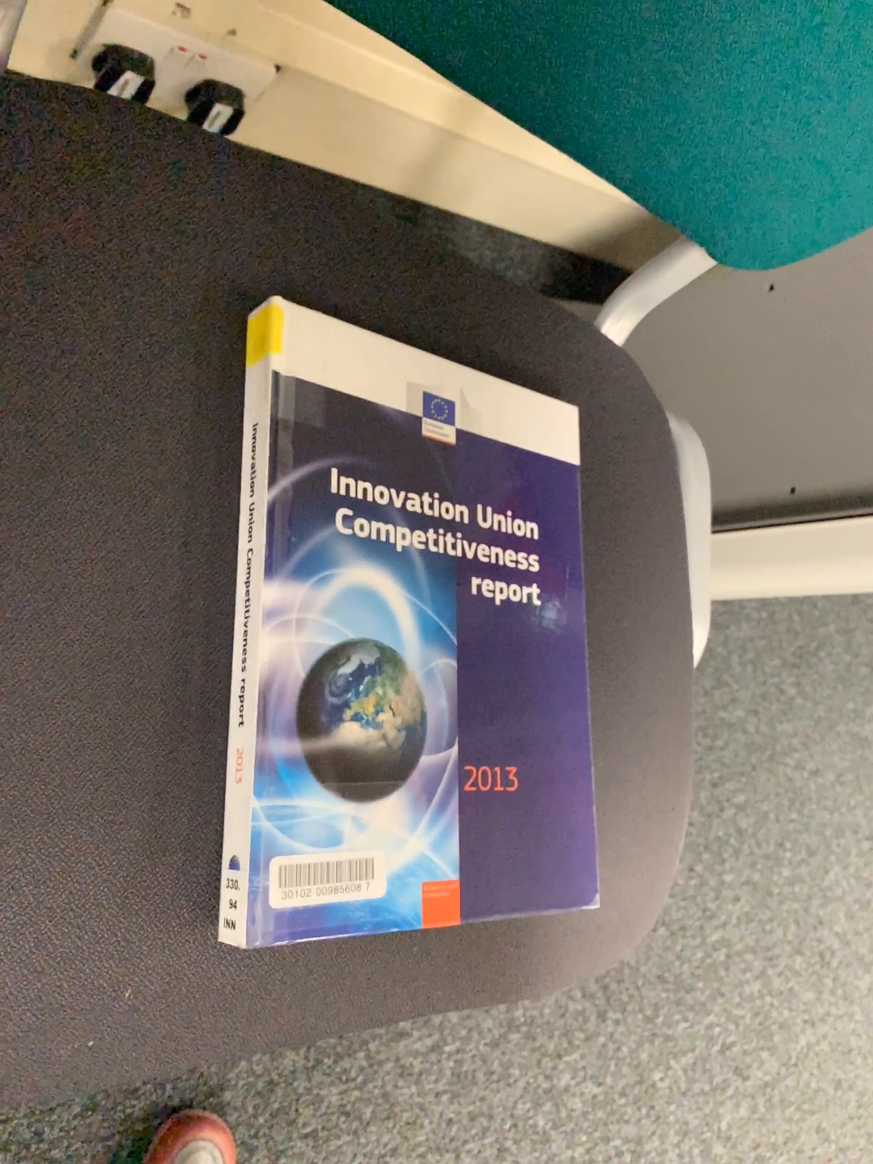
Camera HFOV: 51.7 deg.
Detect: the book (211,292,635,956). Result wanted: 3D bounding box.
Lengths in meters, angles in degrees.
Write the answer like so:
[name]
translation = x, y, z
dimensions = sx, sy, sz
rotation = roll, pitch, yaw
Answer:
[book]
translation = 0.005, 0.020, 0.399
dimensions = 0.195, 0.026, 0.250
rotation = 10, 73, -35
